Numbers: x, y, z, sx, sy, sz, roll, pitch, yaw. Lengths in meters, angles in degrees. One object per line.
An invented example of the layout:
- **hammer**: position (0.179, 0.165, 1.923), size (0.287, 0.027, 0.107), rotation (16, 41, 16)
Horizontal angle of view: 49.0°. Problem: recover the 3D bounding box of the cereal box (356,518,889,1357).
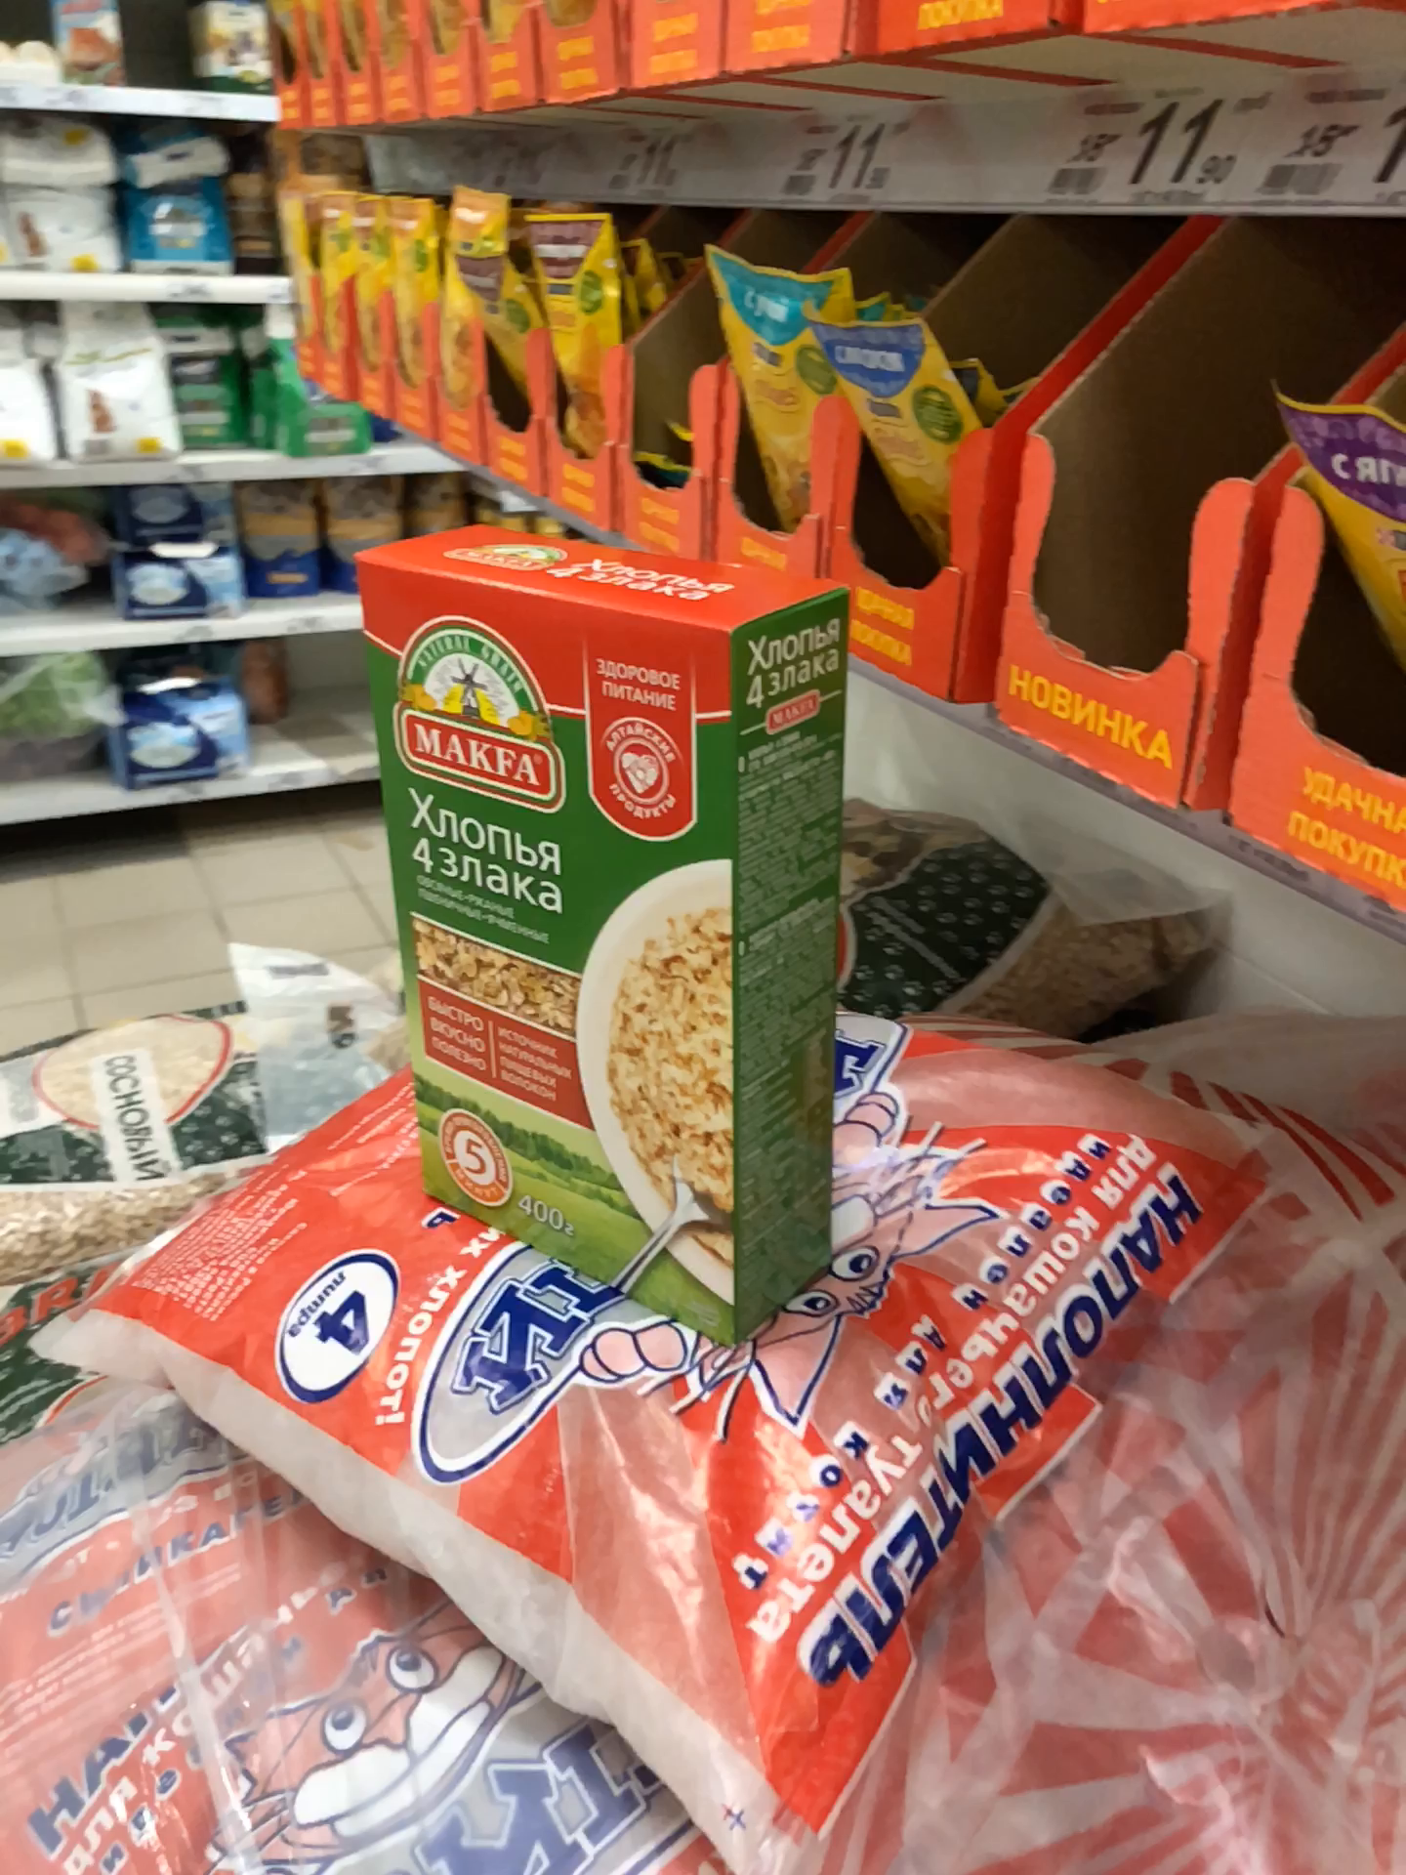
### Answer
- **cereal box**: position (-0.024, -0.004, 0.446), size (0.140, 0.209, 0.050), rotation (18, 30, 34)
